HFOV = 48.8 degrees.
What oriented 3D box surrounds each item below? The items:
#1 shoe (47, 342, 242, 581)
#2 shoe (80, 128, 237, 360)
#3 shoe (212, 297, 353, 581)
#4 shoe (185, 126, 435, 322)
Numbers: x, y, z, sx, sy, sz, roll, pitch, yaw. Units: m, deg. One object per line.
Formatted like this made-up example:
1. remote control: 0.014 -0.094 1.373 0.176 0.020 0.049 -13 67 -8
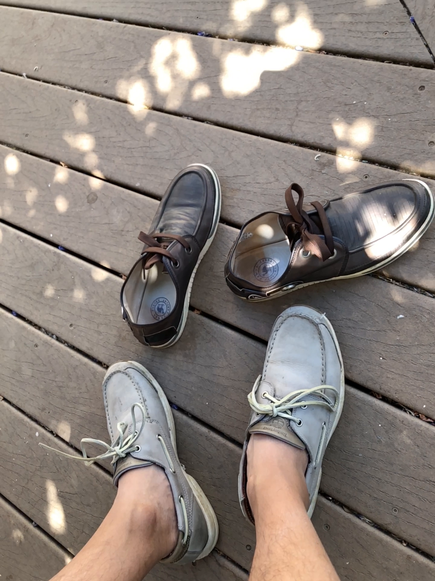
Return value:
1. shoe: -0.105 0.233 0.665 0.110 0.111 0.303 -36 69 15
2. shoe: -0.080 -0.062 0.695 0.110 0.111 0.303 14 87 25
3. shoe: 0.086 0.170 0.588 0.110 0.111 0.303 5 84 25
4. shoe: 0.128 -0.065 0.599 0.304 0.111 0.110 -21 74 20
